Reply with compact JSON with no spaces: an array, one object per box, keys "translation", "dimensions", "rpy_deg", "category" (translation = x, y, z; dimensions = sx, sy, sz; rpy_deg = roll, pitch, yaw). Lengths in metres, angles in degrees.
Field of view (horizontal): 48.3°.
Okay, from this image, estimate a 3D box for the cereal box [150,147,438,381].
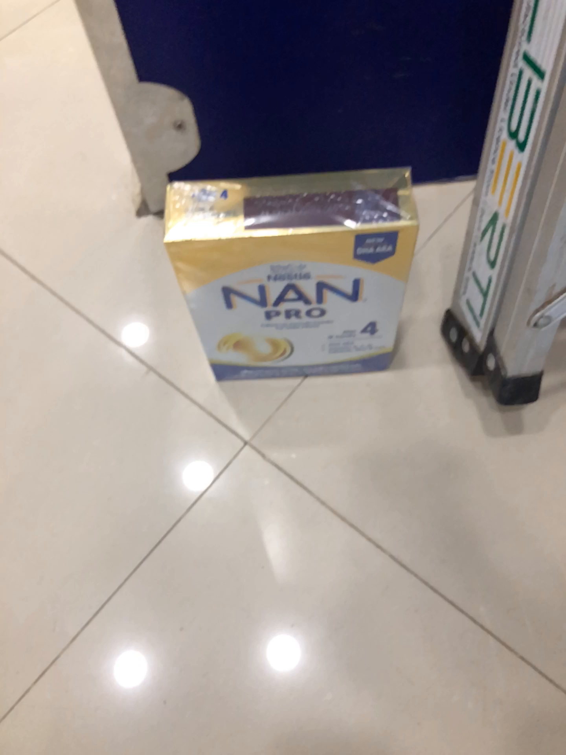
[{"translation":[0.011,-0.070,0.477],"dimensions":[0.170,0.209,0.050],"rpy_deg":[-4,64,2],"category":"cereal box"}]
